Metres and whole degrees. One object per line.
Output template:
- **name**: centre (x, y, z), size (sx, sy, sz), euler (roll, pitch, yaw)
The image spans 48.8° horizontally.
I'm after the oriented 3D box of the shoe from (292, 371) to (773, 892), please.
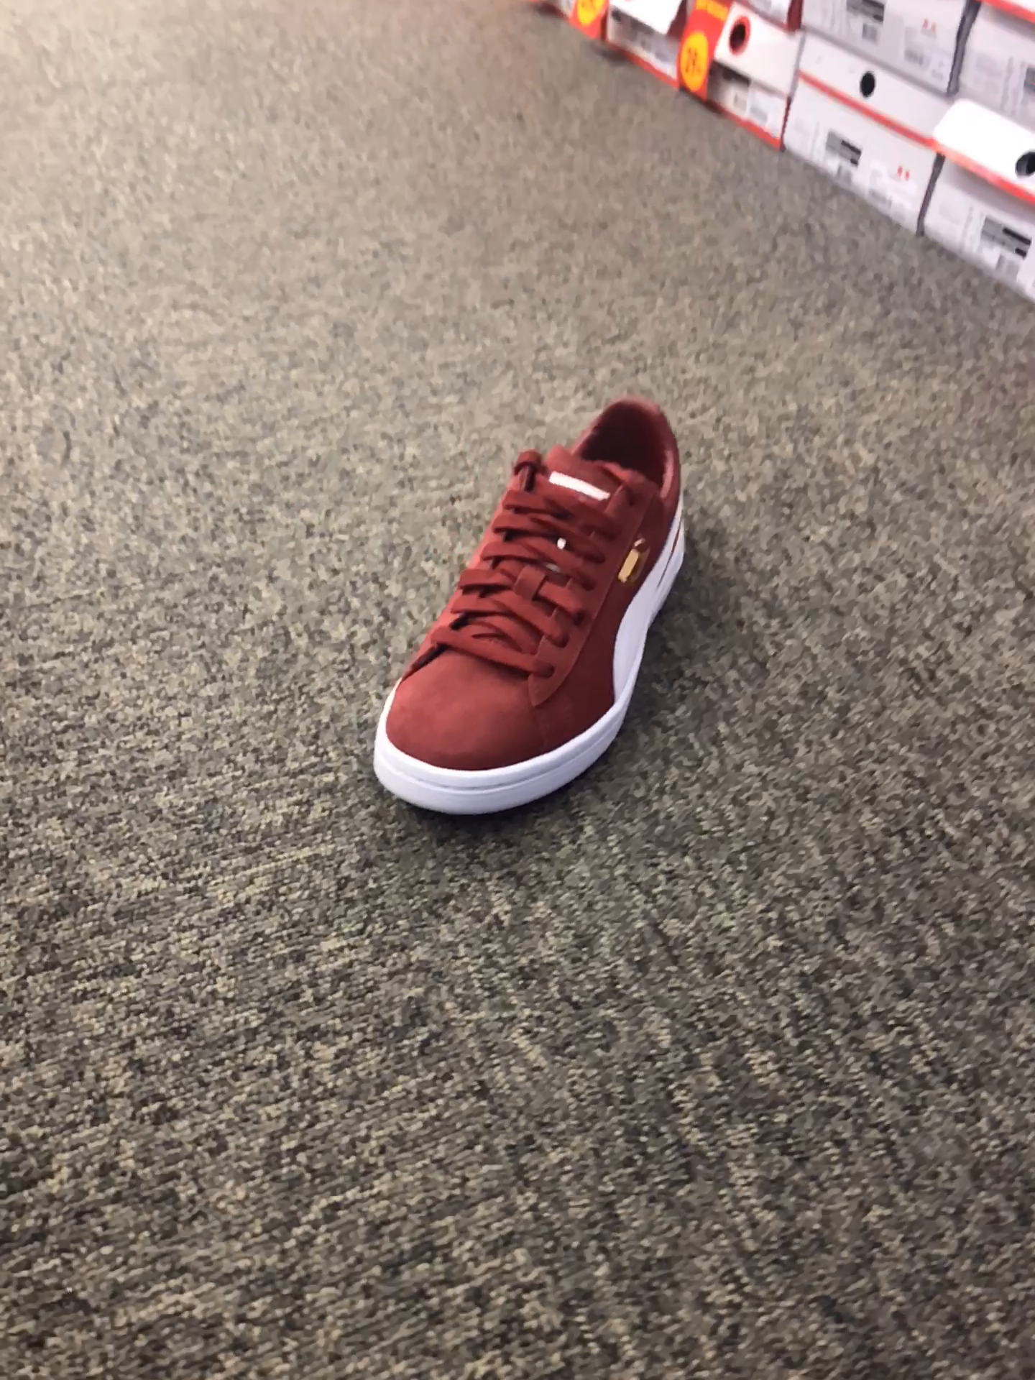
- **shoe**: centre (0.019, -0.042, 0.515), size (0.100, 0.080, 0.252), euler (21, 47, 19)
